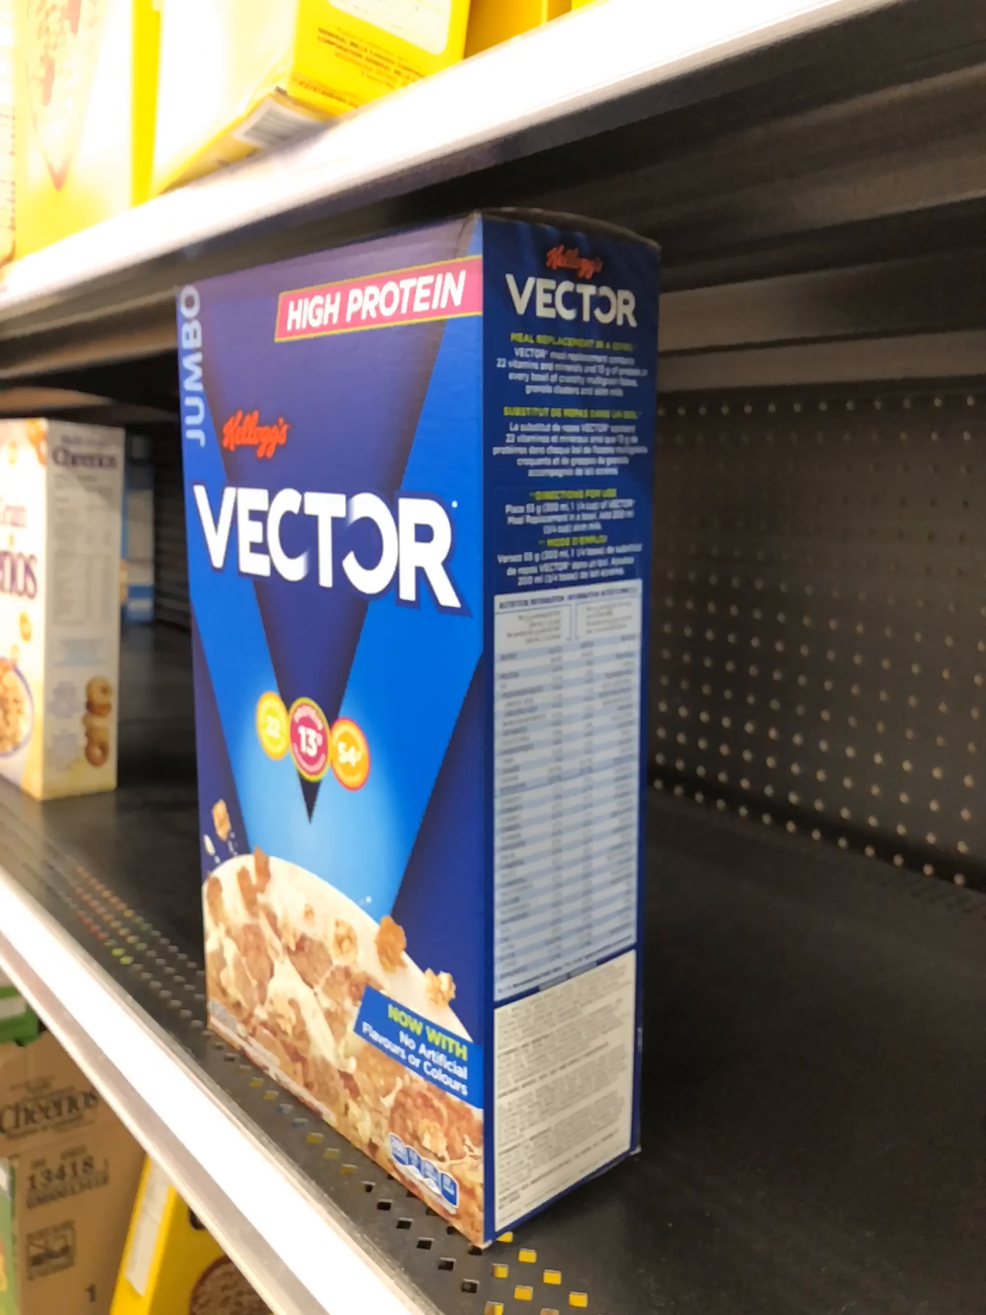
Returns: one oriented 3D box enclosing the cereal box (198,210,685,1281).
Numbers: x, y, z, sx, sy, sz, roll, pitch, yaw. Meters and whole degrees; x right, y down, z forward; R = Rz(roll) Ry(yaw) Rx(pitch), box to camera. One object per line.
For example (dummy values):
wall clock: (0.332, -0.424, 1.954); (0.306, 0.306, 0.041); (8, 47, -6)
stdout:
cereal box: (-0.032, 0.023, 0.450); (0.080, 0.349, 0.200); (-7, 12, -40)
